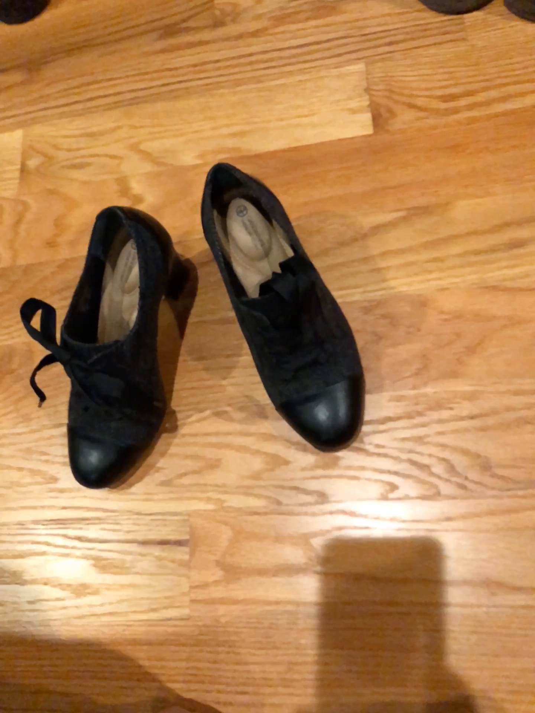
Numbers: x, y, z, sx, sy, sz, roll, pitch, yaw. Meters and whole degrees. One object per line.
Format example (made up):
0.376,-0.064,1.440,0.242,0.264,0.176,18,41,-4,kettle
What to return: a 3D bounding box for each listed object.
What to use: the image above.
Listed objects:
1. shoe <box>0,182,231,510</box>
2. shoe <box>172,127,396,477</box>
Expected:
-0.124,-0.003,0.477,0.093,0.125,0.223,14,77,17,shoe
0.016,-0.035,0.455,0.088,0.125,0.223,-20,70,6,shoe
